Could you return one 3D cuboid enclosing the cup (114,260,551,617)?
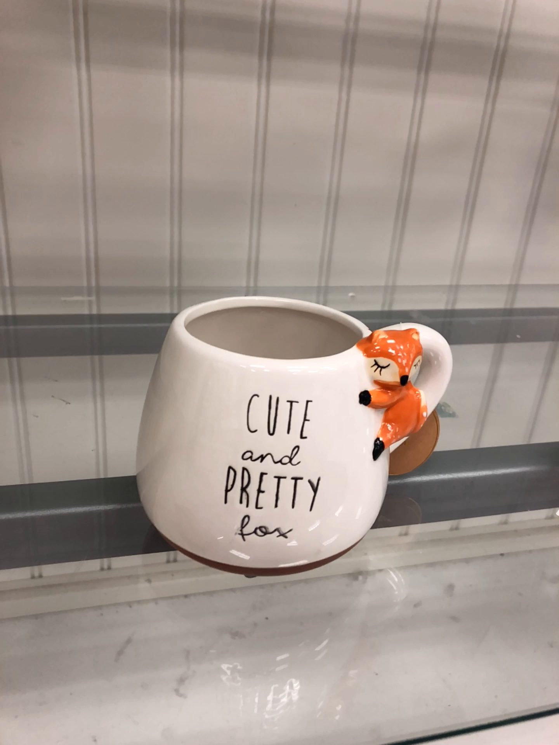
[{"bbox_3d":[0.015,0.012,0.264,0.143,0.089,0.101,-9,27,-27],"label":"cup"}]
